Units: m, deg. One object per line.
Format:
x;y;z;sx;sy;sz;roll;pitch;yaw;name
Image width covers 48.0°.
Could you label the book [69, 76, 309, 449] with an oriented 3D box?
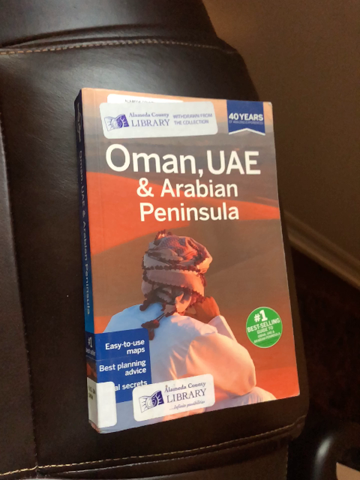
0.007;0.007;0.259;0.138;0.030;0.203;-3;86;-22;book
